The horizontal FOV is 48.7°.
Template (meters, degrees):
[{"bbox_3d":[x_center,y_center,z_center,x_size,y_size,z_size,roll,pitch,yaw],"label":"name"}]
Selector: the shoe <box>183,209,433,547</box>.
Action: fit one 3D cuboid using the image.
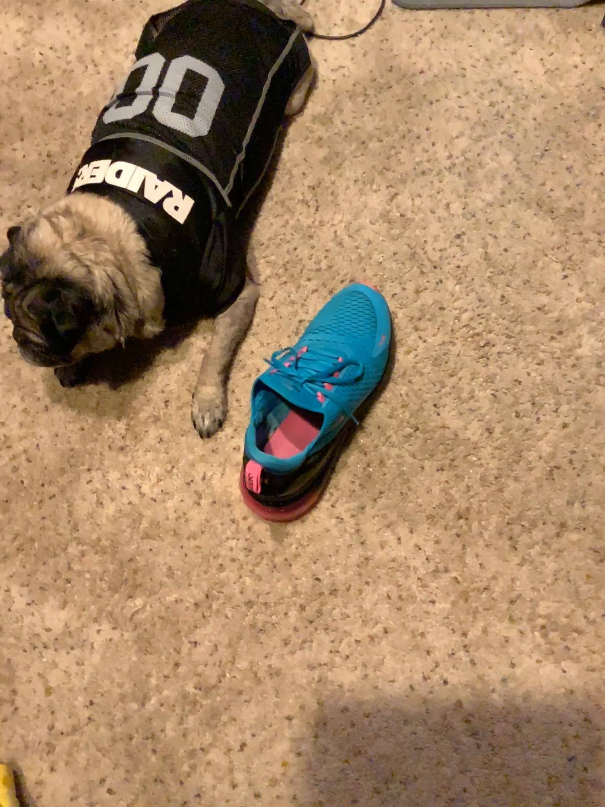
[{"bbox_3d":[0.020,-0.028,0.772,0.130,0.140,0.340,23,75,15],"label":"shoe"}]
